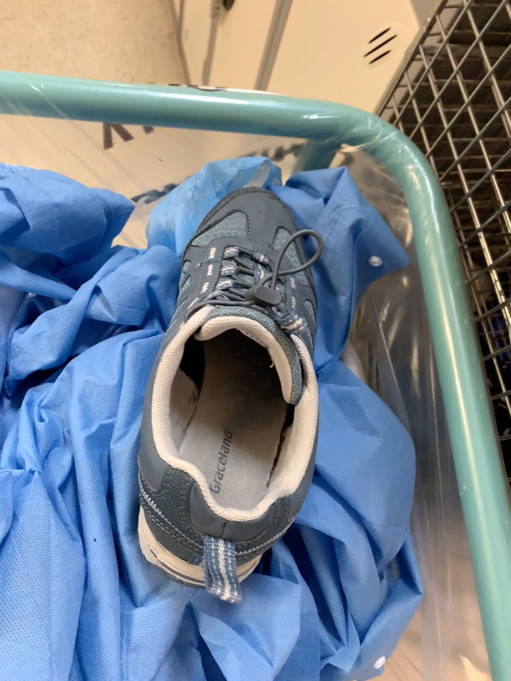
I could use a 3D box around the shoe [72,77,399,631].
[{"bbox_3d":[-0.005,0.004,0.286,0.101,0.109,0.241,14,69,-7],"label":"shoe"}]
